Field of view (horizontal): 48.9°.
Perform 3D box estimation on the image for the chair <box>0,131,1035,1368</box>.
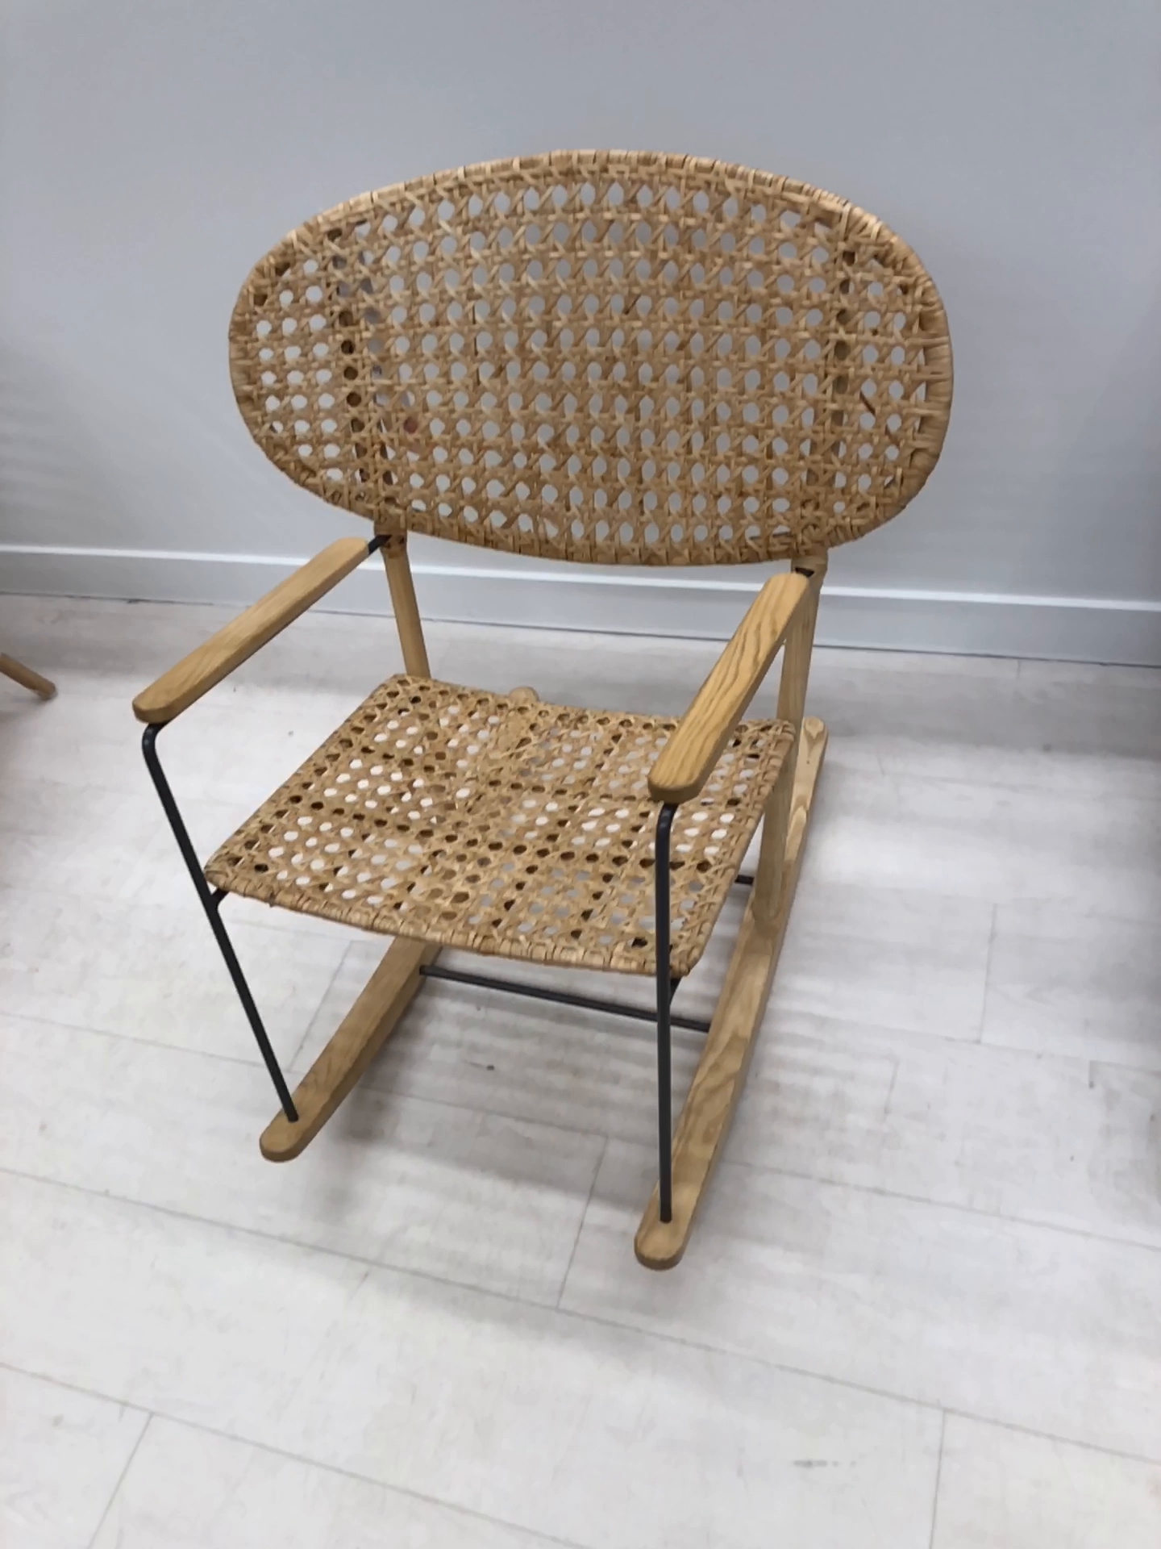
[{"bbox_3d":[-0.048,-0.067,1.335,0.831,0.787,0.852,9,51,21],"label":"chair"}]
